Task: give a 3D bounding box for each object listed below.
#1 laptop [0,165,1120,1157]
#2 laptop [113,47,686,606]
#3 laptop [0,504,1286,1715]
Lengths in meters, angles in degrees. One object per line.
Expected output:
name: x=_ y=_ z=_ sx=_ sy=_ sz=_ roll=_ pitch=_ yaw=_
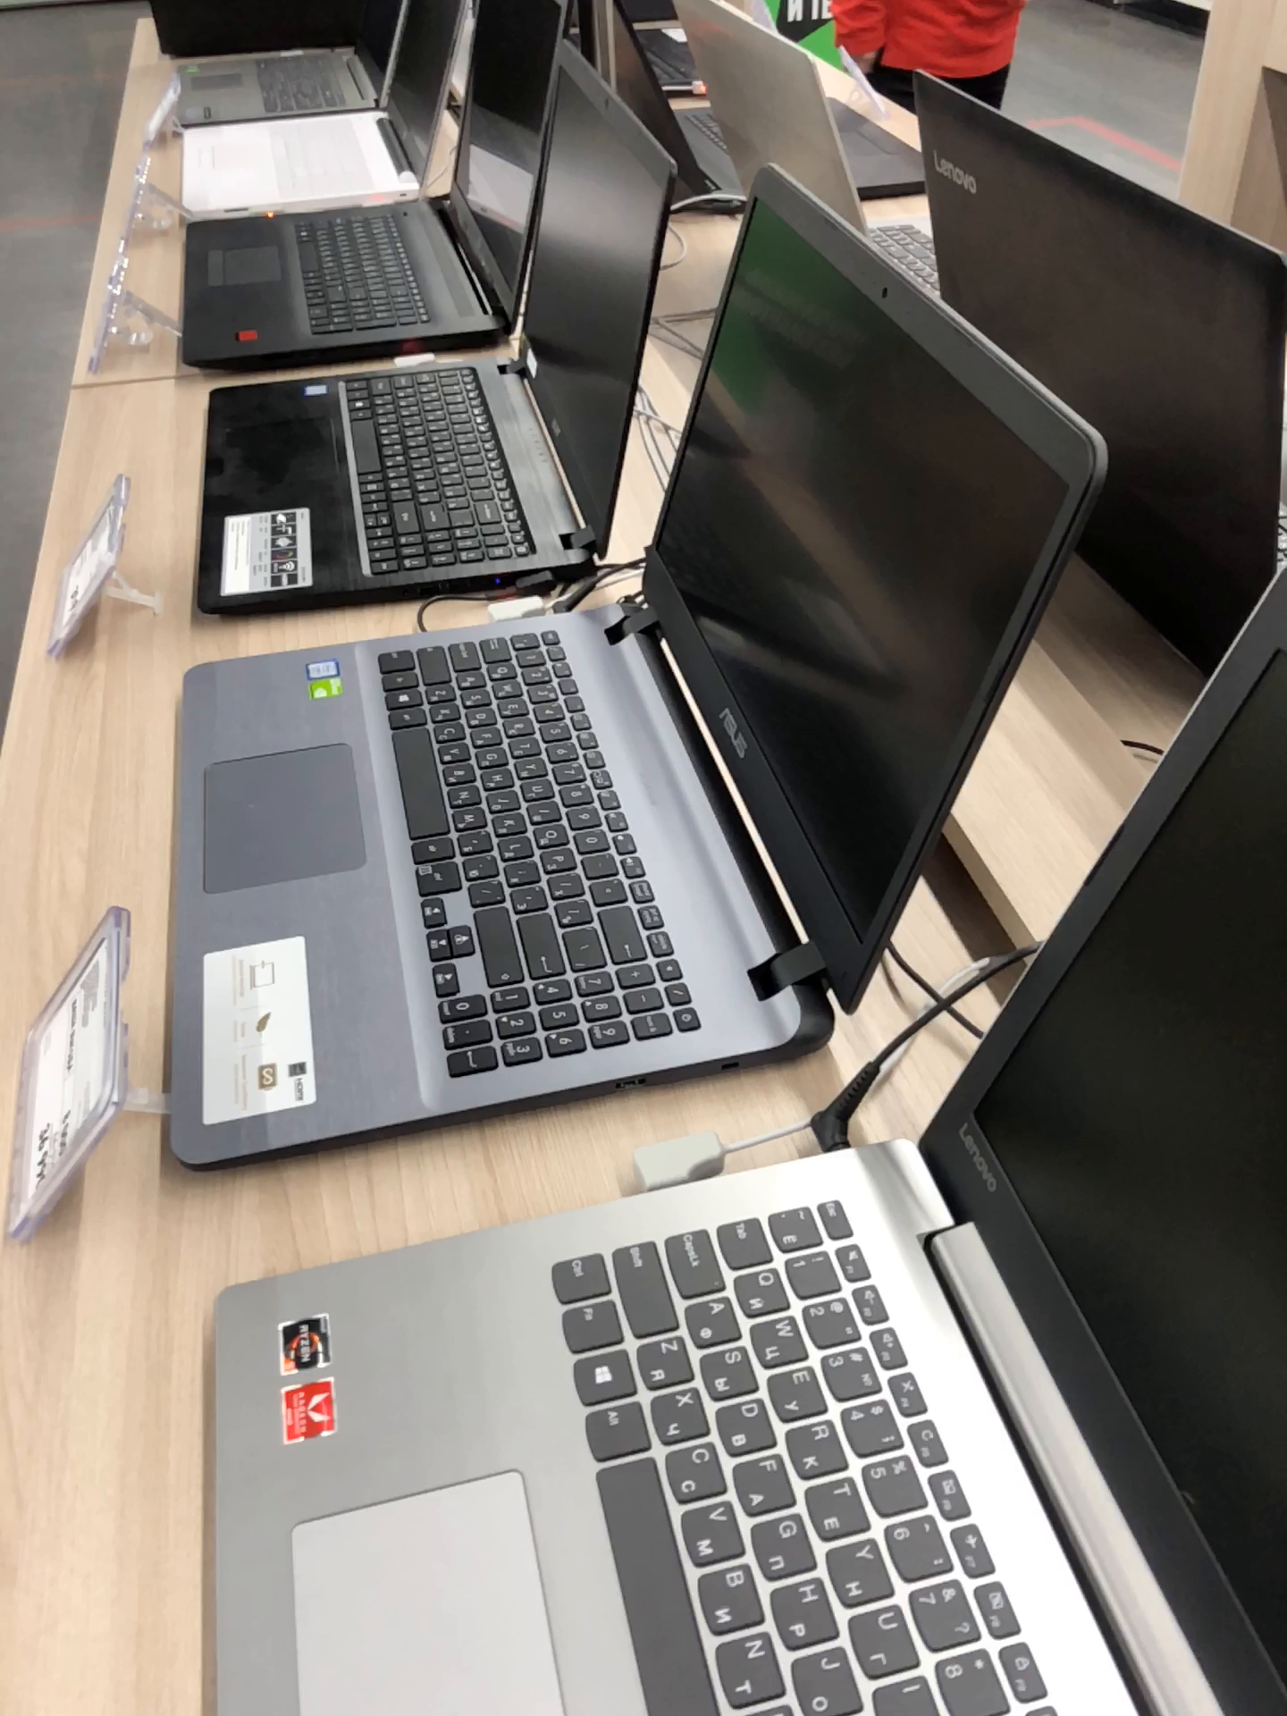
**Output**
laptop: x=-0.052 y=-0.114 z=0.604 sx=0.328 sy=0.226 sz=0.346 roll=-10 pitch=40 yaw=-9
laptop: x=-0.157 y=-0.361 z=0.921 sx=0.291 sy=0.222 sz=0.334 roll=-9 pitch=40 yaw=-8
laptop: x=0.058 y=0.146 z=0.285 sx=0.332 sy=0.219 sz=0.372 roll=-12 pitch=41 yaw=-10
